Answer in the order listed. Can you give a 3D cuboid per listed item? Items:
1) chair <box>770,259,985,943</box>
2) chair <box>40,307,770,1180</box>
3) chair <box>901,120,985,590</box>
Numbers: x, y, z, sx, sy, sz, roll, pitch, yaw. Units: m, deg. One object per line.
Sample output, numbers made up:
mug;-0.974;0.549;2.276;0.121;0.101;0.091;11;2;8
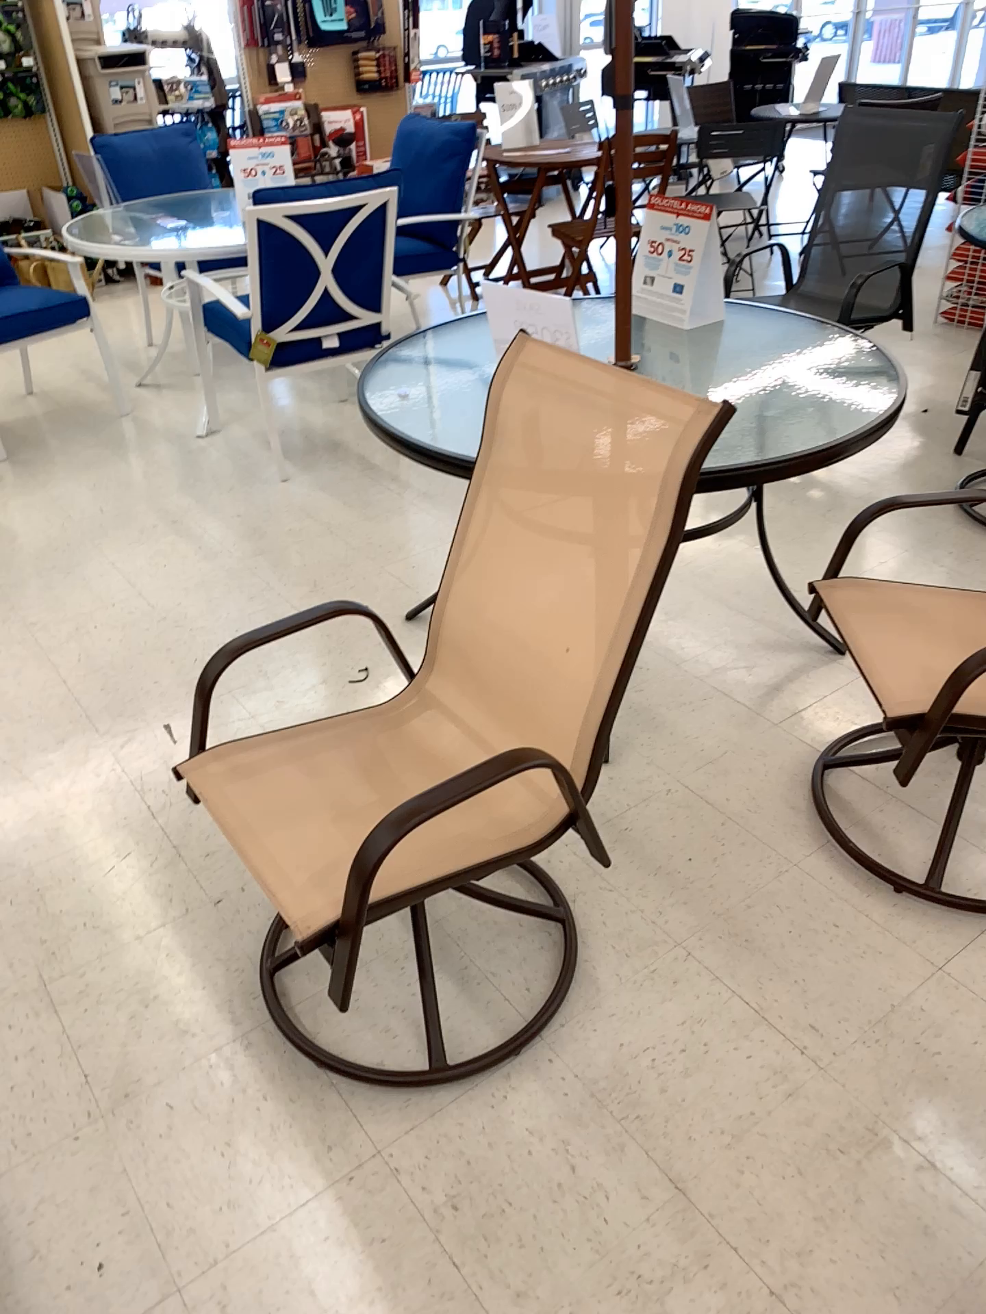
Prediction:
chair;0.914;-0.095;1.682;0.707;0.956;0.571;2;34;7
chair;-0.102;0.088;1.506;0.708;0.956;0.570;-24;39;-28
chair;1.506;-0.794;2.547;0.569;0.916;0.709;18;39;28
